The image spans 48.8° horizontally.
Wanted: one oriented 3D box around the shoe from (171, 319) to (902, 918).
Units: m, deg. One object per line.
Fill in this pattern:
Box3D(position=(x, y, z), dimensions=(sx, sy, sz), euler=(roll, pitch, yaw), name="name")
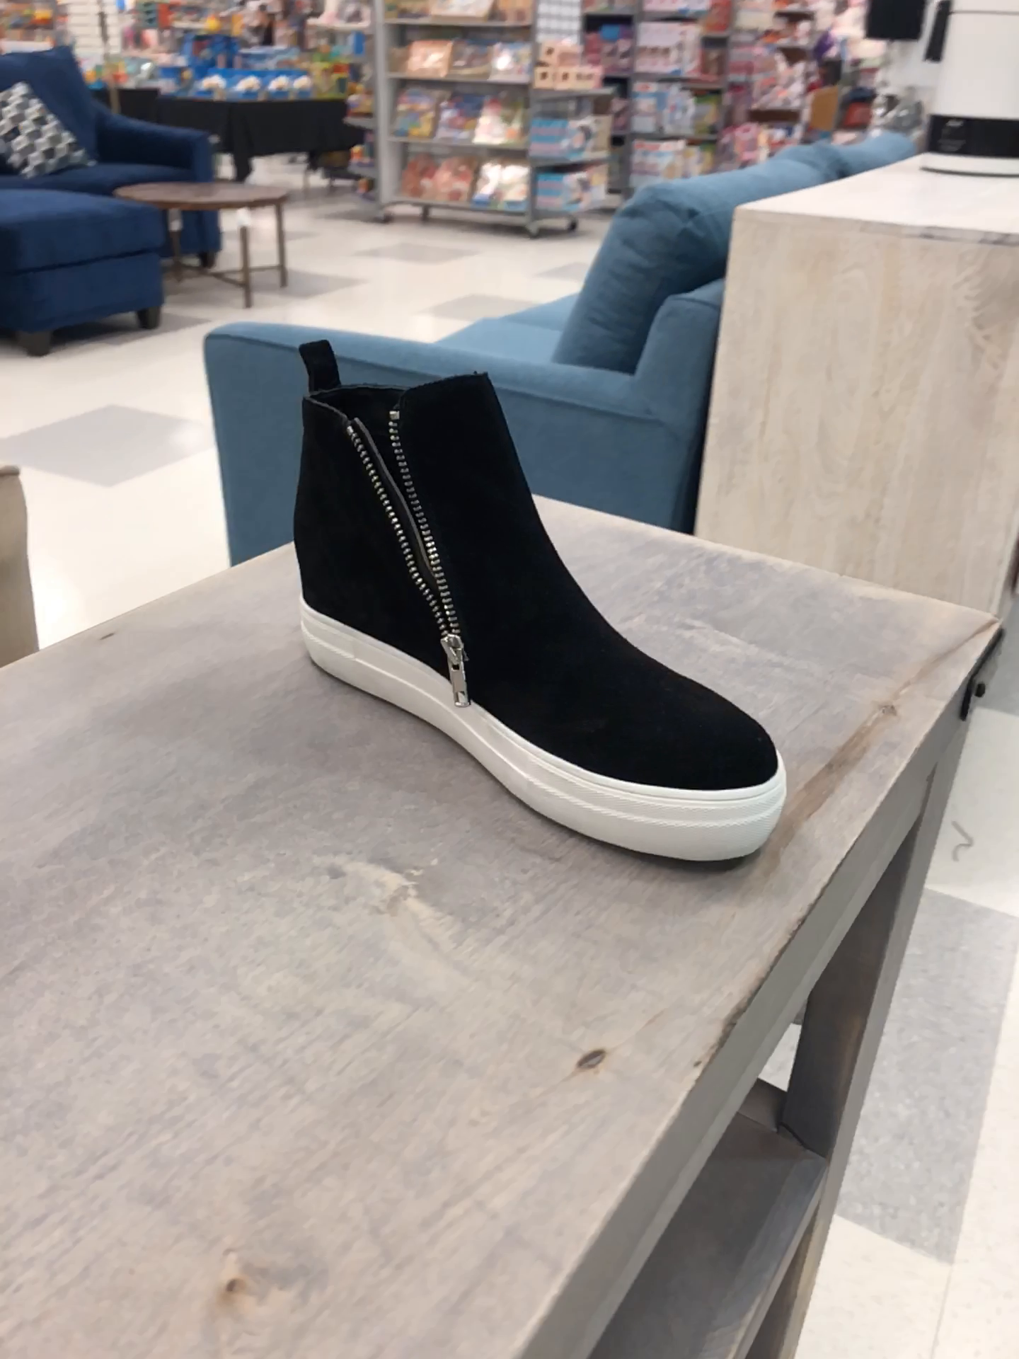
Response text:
Box3D(position=(-0.007, -0.049, 0.477), dimensions=(0.291, 0.146, 0.107), euler=(25, 36, 36), name="shoe")
